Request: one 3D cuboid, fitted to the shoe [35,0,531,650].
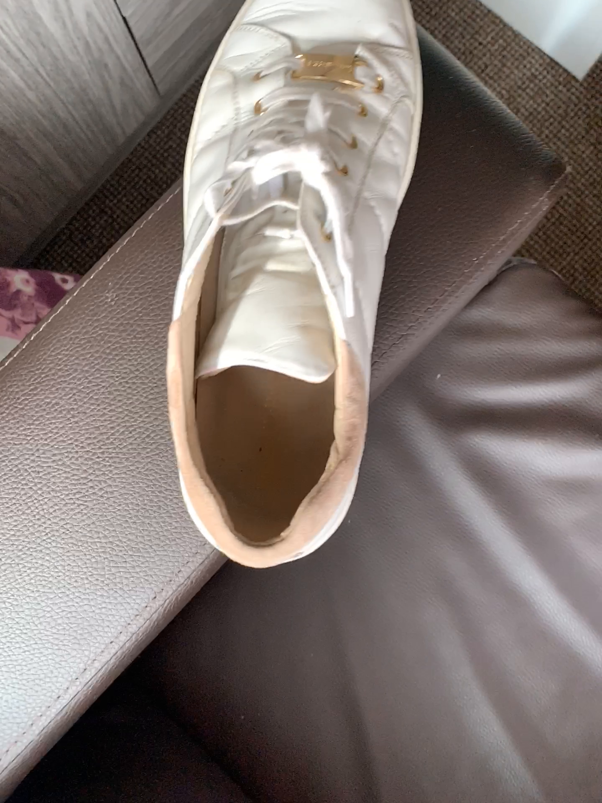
[{"bbox_3d":[-0.003,-0.071,0.227,0.110,0.110,0.270,6,87,0],"label":"shoe"}]
